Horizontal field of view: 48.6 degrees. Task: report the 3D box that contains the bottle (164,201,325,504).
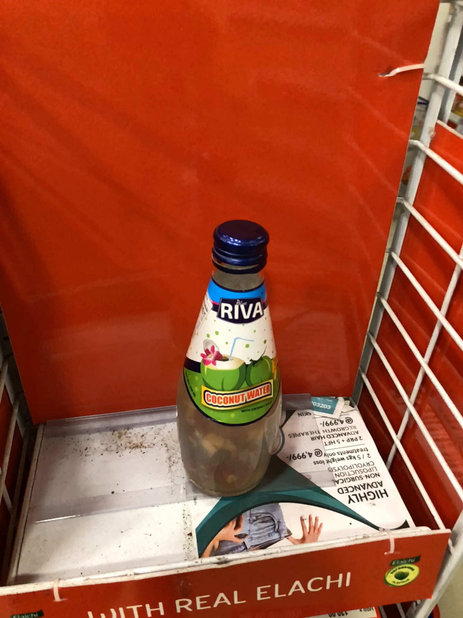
[{"bbox_3d":[0.001,0.033,0.308,0.070,0.179,0.060,-5,37,-9],"label":"bottle"}]
